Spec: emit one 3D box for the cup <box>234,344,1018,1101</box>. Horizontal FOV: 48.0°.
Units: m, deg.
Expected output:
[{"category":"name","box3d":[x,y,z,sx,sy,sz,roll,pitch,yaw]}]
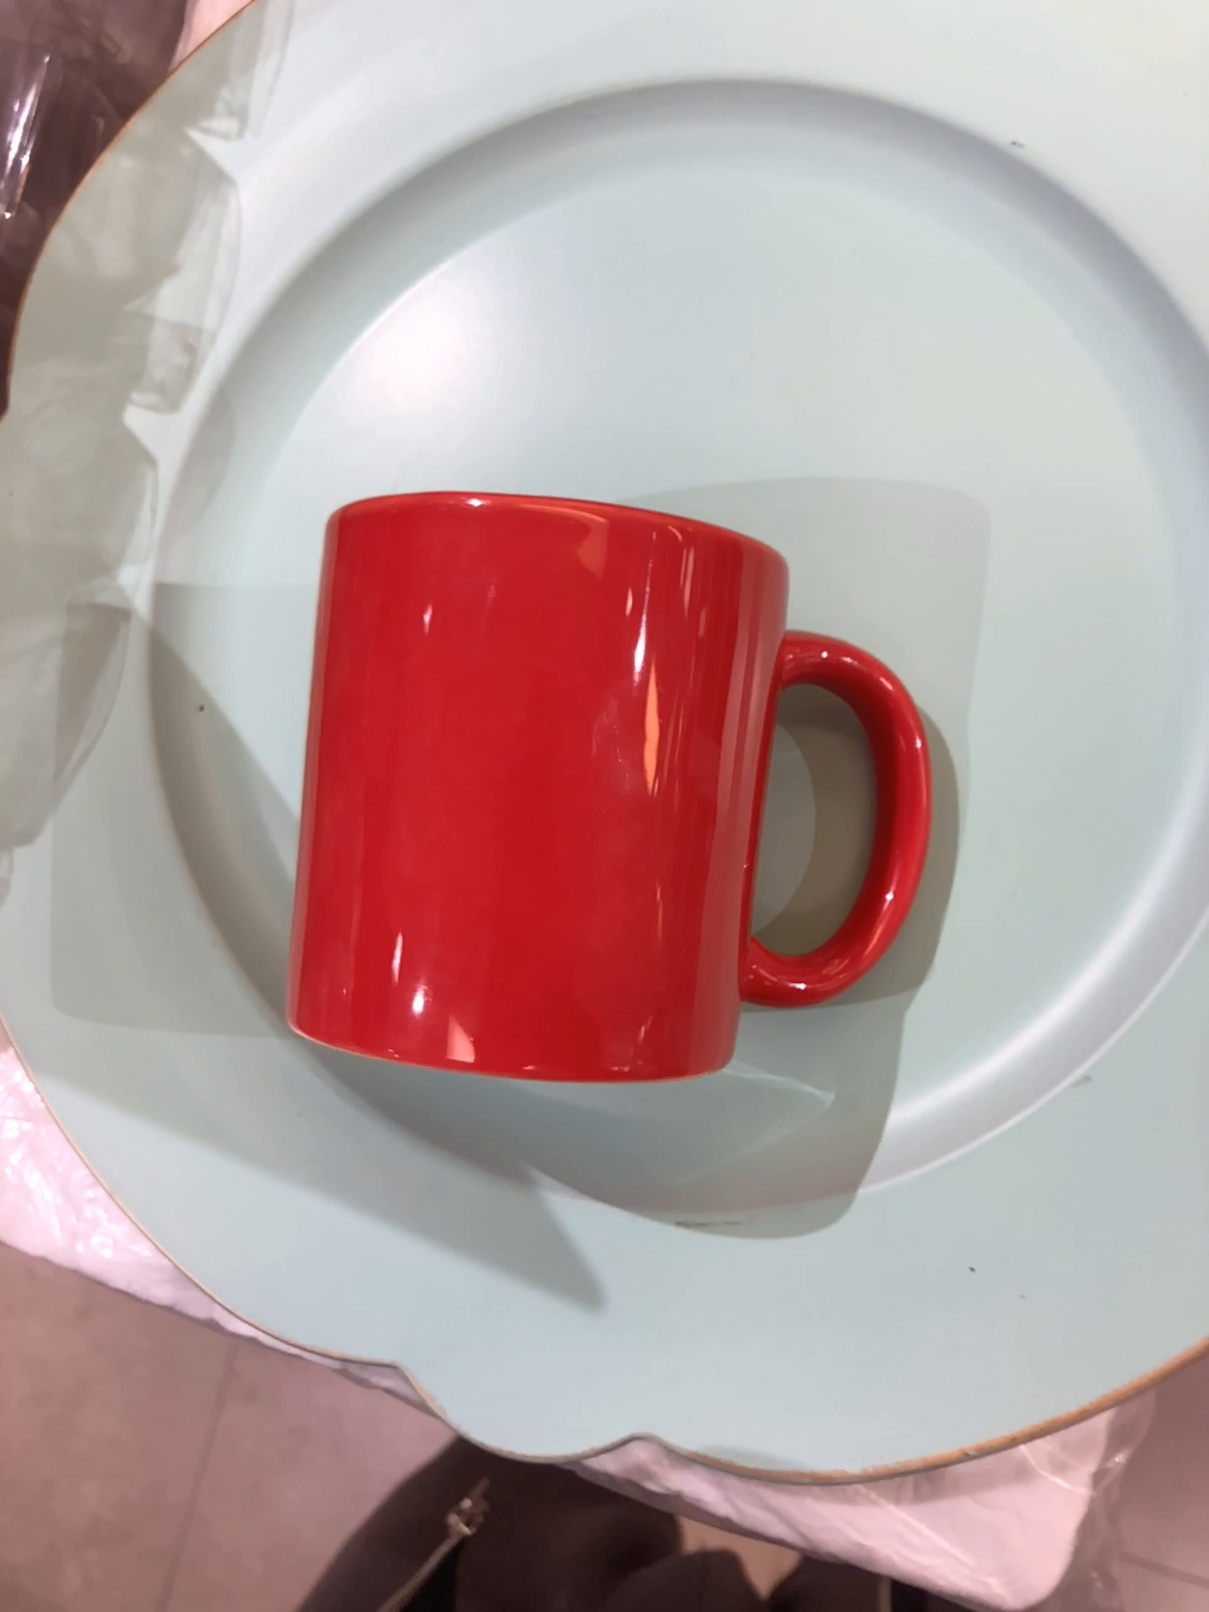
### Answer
[{"category":"cup","box3d":[0.001,-0.007,0.226,0.110,0.060,0.100,0,89,-19]}]
